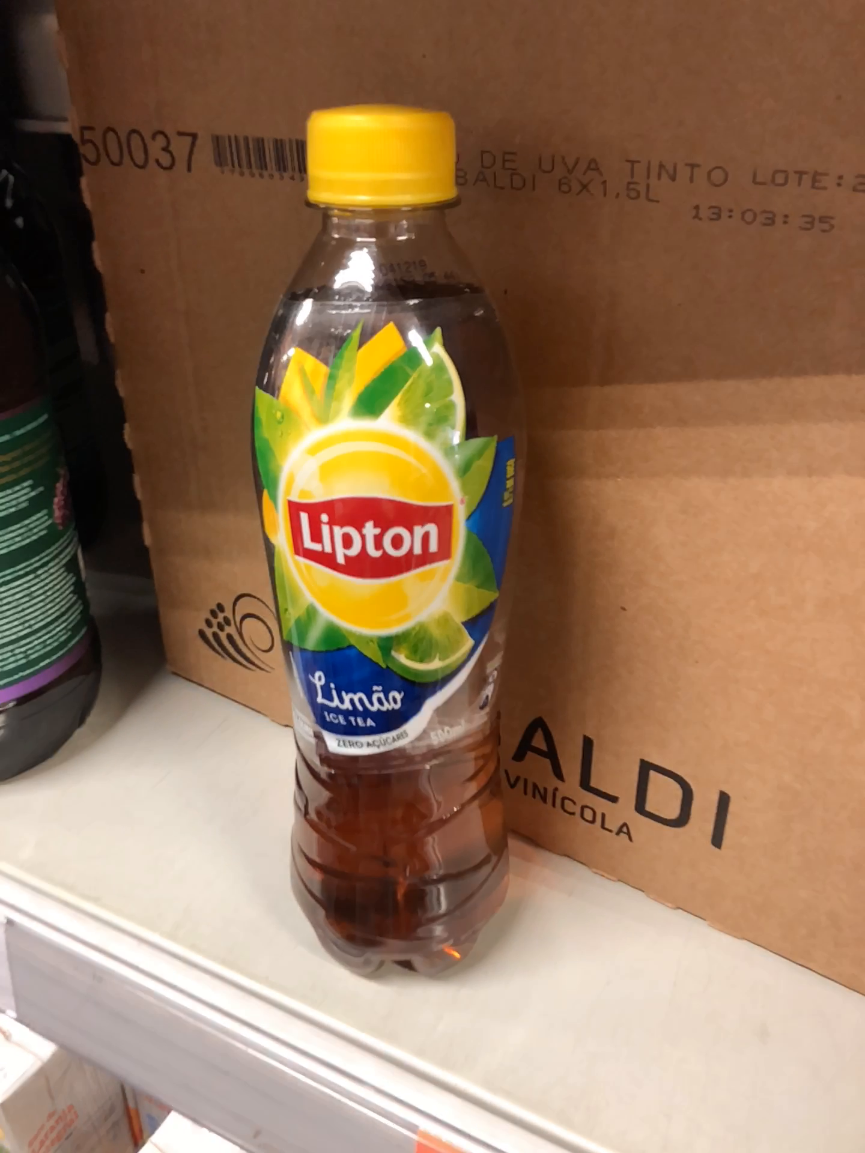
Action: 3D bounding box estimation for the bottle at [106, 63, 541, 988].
[{"bbox_3d":[-0.013,-0.001,0.238,0.070,0.218,0.060,3,30,9],"label":"bottle"}]
